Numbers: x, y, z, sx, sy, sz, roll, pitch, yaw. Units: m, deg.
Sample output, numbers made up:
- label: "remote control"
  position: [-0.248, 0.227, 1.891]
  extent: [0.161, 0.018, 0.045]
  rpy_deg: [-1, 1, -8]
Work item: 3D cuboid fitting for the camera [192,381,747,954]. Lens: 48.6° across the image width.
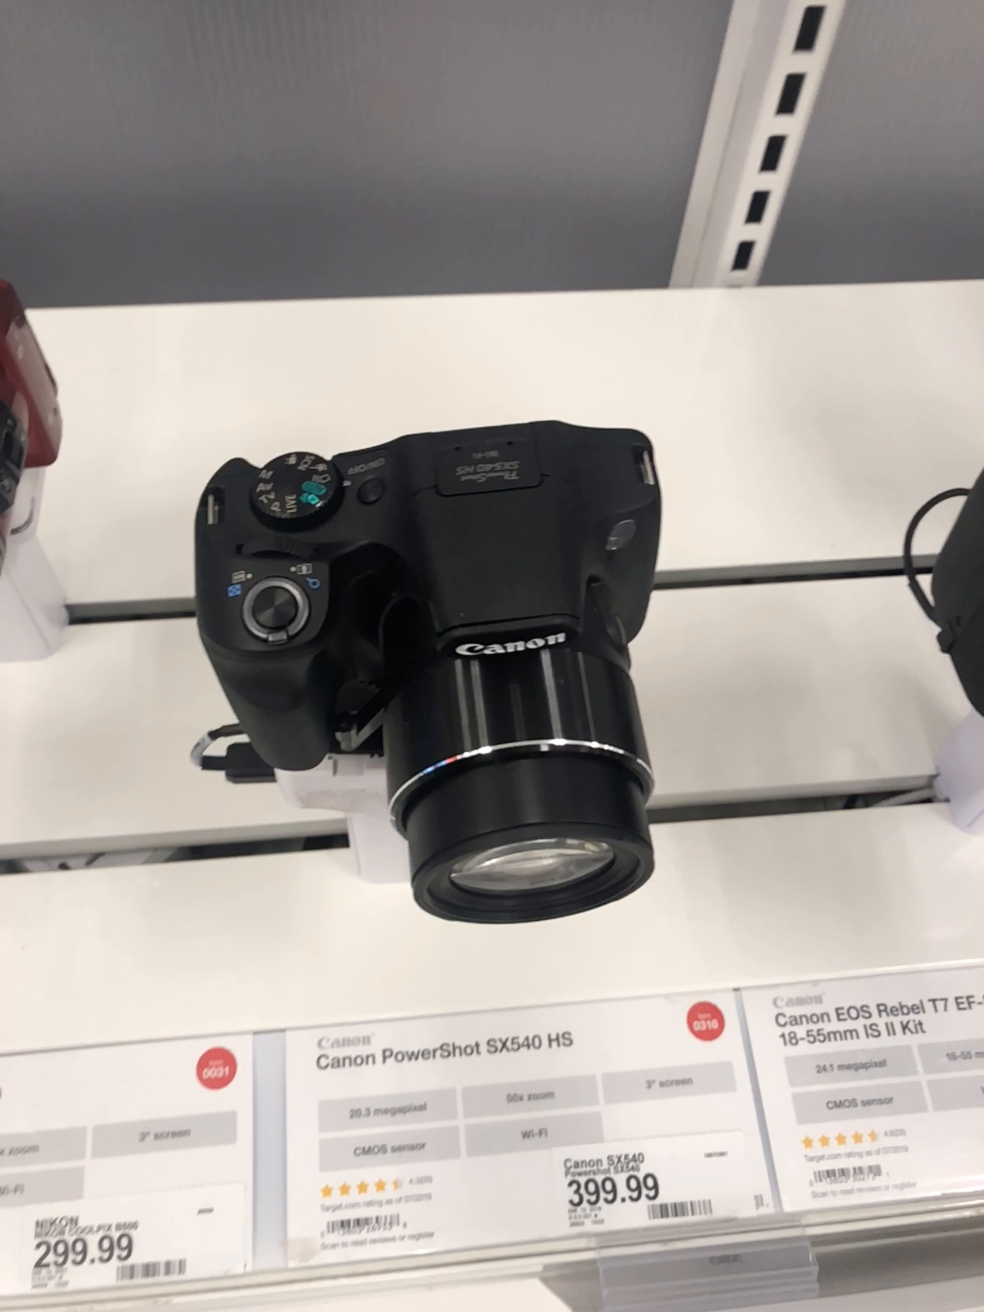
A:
- label: "camera"
  position: [-0.011, 0.003, 0.254]
  extent: [0.100, 0.076, 0.099]
  rpy_deg: [-6, 60, -7]
